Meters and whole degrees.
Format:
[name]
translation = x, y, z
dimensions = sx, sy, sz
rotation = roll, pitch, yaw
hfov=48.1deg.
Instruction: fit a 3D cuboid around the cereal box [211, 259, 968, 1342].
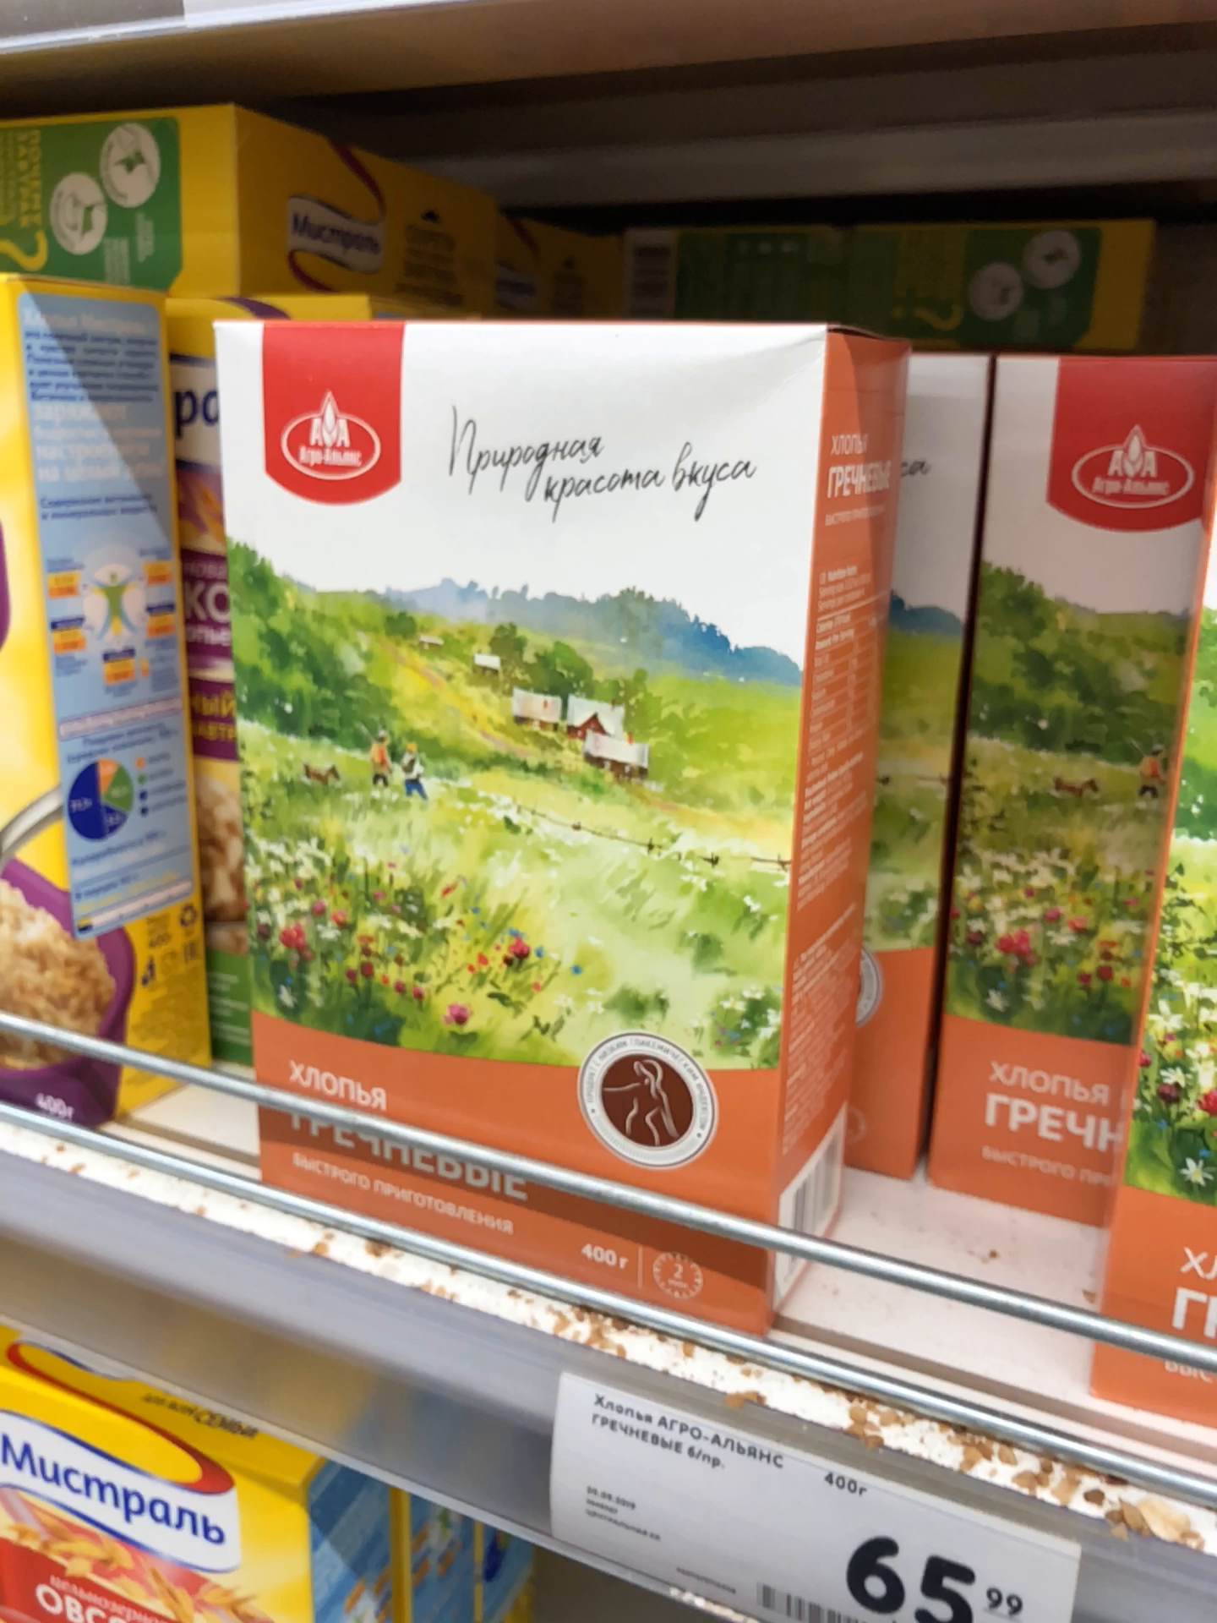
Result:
[cereal box]
translation = -0.007, -0.007, 0.292
dimensions = 0.140, 0.199, 0.050
rotation = 8, 17, 24
